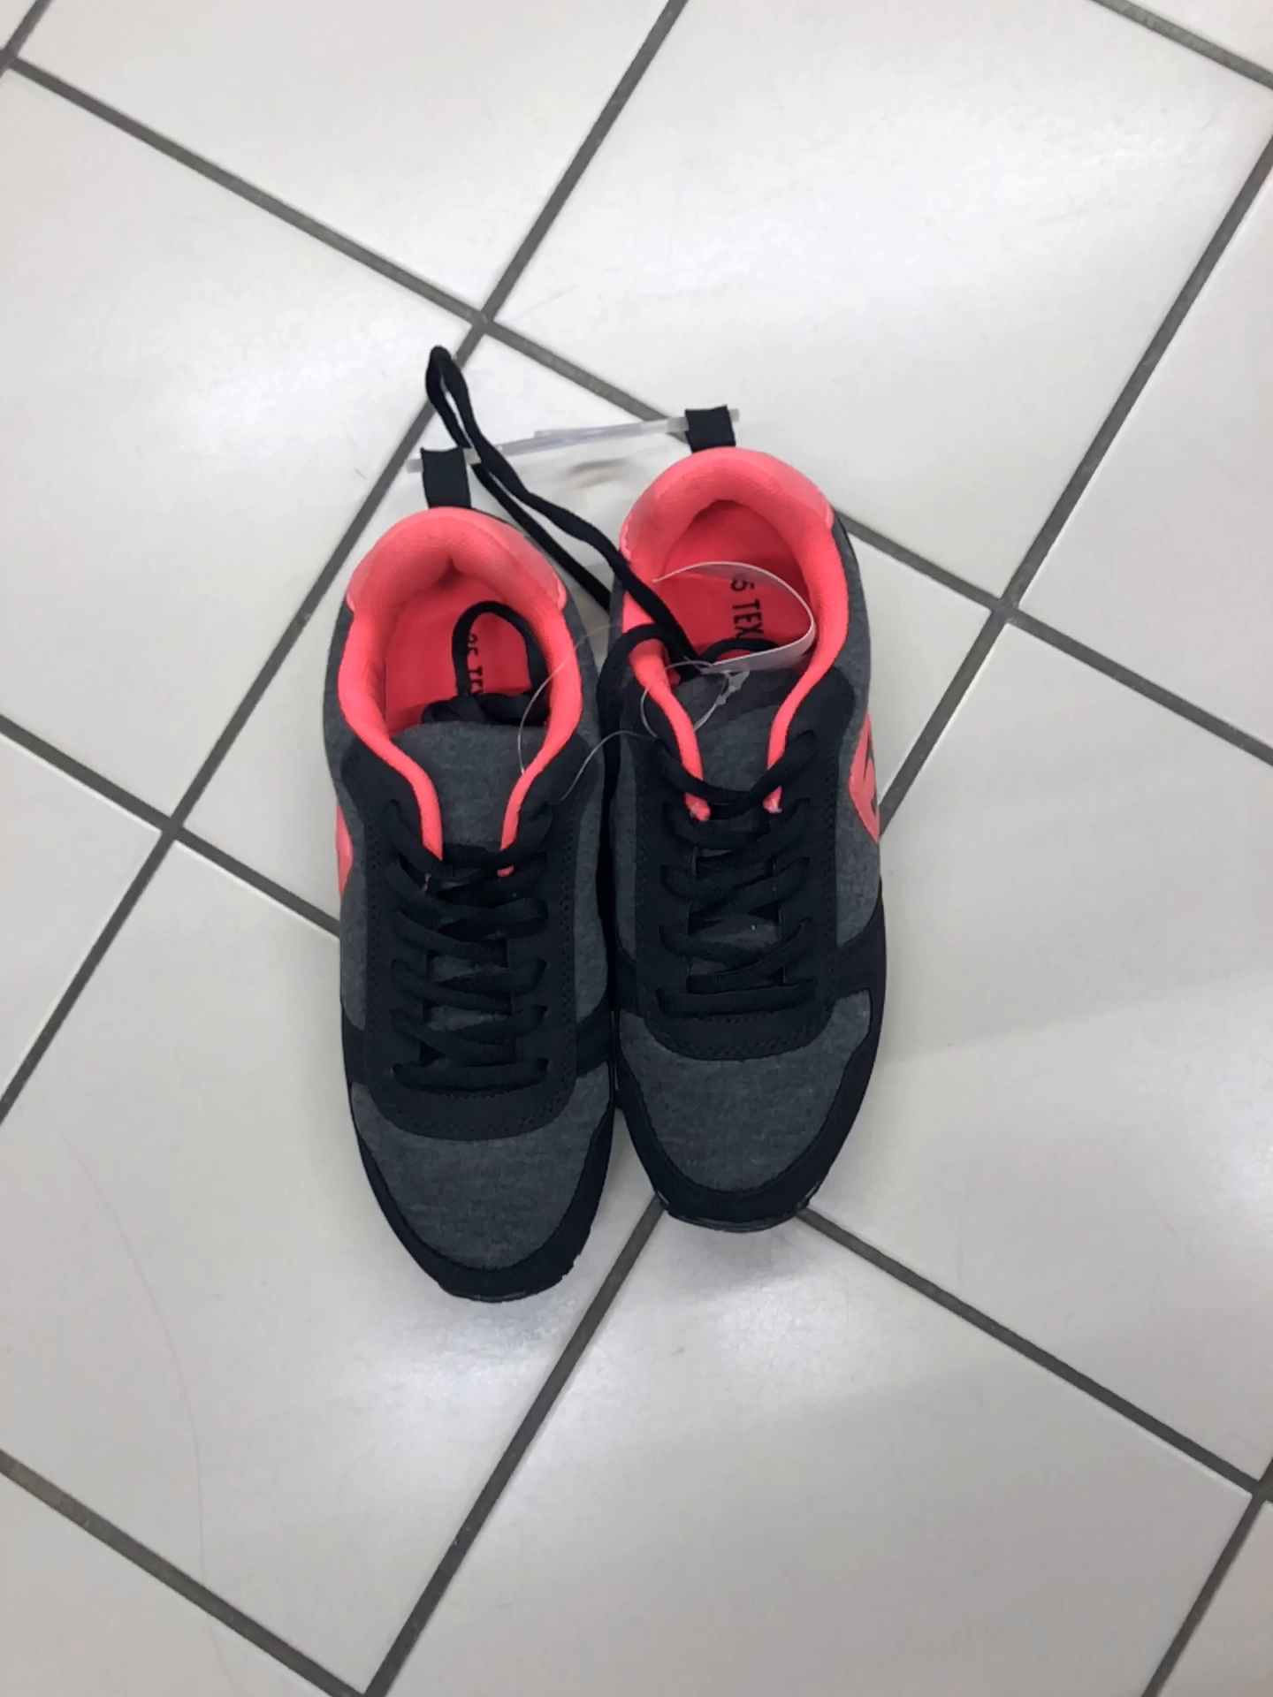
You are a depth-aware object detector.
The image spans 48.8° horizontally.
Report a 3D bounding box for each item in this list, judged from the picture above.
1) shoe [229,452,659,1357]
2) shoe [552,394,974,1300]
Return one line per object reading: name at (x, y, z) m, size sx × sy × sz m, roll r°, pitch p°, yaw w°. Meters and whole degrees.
shoe at (-0.049, 0.016, 0.400) m, size 0.090 × 0.100 × 0.220 m, roll -5°, pitch 84°, yaw 3°
shoe at (0.032, 0.002, 0.397) m, size 0.090 × 0.100 × 0.220 m, roll -4°, pitch 84°, yaw 3°
